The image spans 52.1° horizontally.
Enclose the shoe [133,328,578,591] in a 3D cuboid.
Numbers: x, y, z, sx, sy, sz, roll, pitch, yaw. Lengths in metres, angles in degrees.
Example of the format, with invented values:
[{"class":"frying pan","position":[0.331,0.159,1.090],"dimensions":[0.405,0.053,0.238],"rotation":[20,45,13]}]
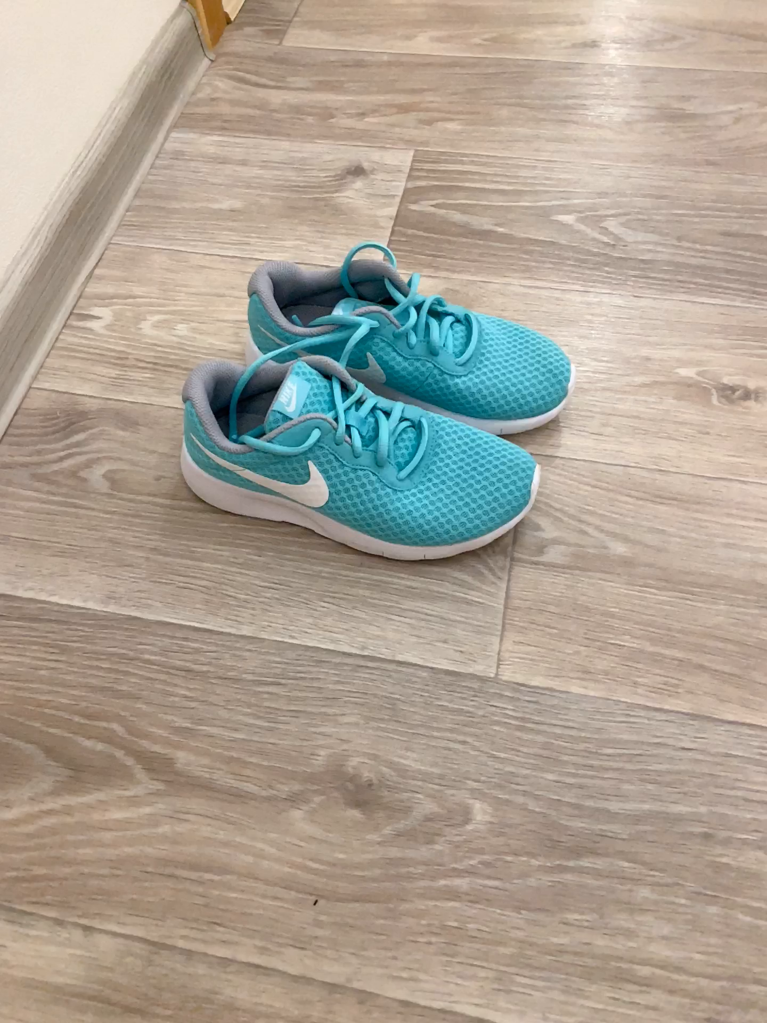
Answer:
[{"class":"shoe","position":[-0.013,-0.035,0.507],"dimensions":[0.250,0.090,0.102],"rotation":[9,58,9]}]

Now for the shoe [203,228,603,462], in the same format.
[{"class":"shoe","position":[0.017,-0.119,0.556],"dimensions":[0.250,0.090,0.099],"rotation":[9,58,9]}]
